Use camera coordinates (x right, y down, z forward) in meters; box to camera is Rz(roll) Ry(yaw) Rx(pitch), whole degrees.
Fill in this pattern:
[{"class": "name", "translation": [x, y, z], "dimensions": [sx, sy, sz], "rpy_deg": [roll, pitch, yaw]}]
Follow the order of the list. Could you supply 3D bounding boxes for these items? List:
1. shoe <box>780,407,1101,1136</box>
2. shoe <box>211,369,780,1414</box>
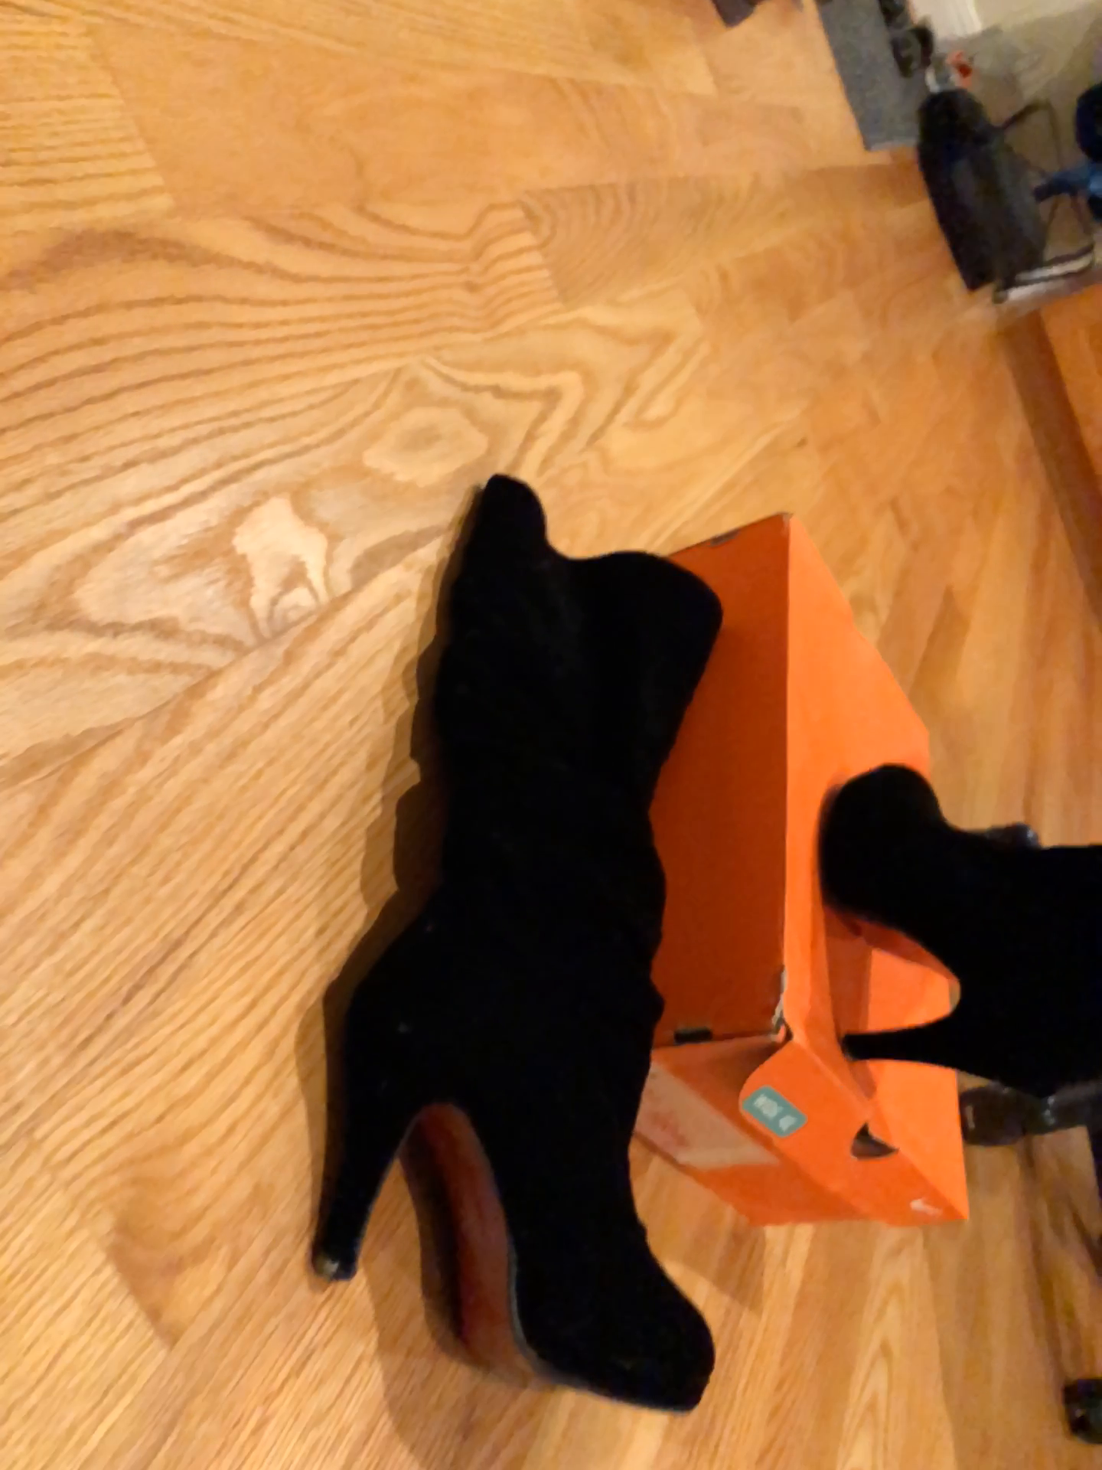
[{"class": "shoe", "translation": [0.306, 0.030, 0.526], "dimensions": [0.089, 0.397, 0.217], "rpy_deg": [51, 36, -34]}, {"class": "shoe", "translation": [0.013, 0.053, 0.541], "dimensions": [0.206, 0.089, 0.401], "rpy_deg": [45, 39, -37]}]
